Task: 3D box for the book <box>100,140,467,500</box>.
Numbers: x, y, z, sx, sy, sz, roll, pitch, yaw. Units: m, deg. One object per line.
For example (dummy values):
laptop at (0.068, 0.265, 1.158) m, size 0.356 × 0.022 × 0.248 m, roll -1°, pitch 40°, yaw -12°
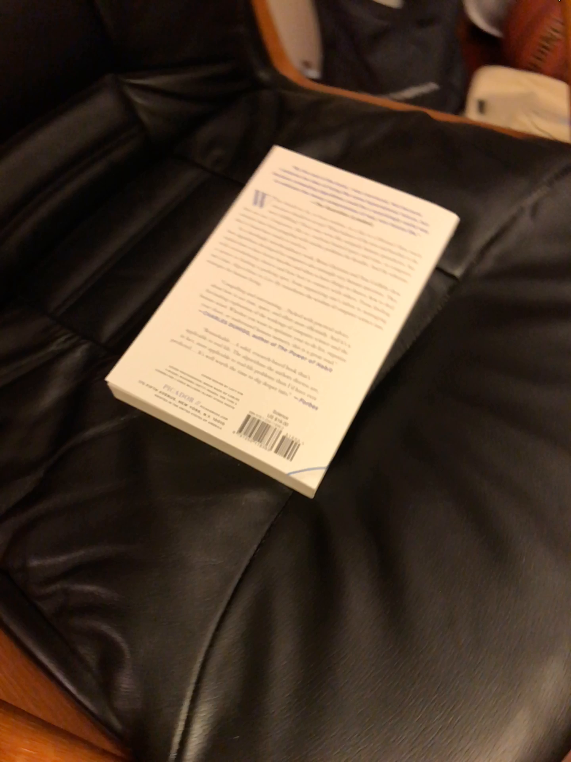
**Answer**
book at (0.007, -0.062, 0.453) m, size 0.160 × 0.020 × 0.251 m, roll 25°, pitch 66°, yaw 15°
